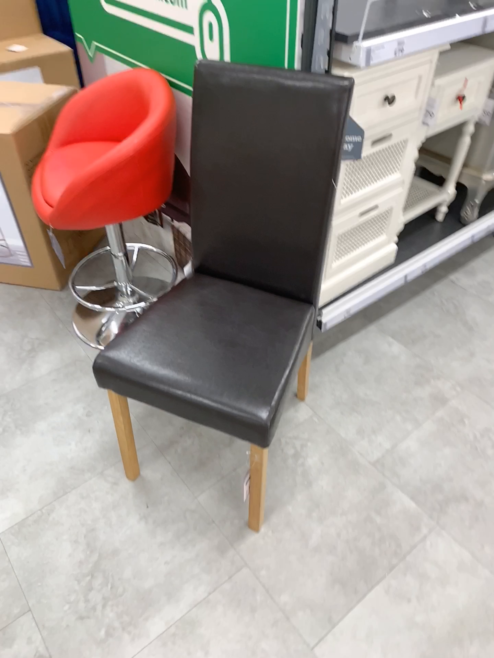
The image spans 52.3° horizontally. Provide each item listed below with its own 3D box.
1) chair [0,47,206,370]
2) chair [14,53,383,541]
[{"bbox_3d":[-0.435,-0.352,1.534,0.456,0.774,0.429,-17,45,-17],"label":"chair"},{"bbox_3d":[-0.037,-0.047,1.179,0.426,0.912,0.560,17,45,17],"label":"chair"}]
